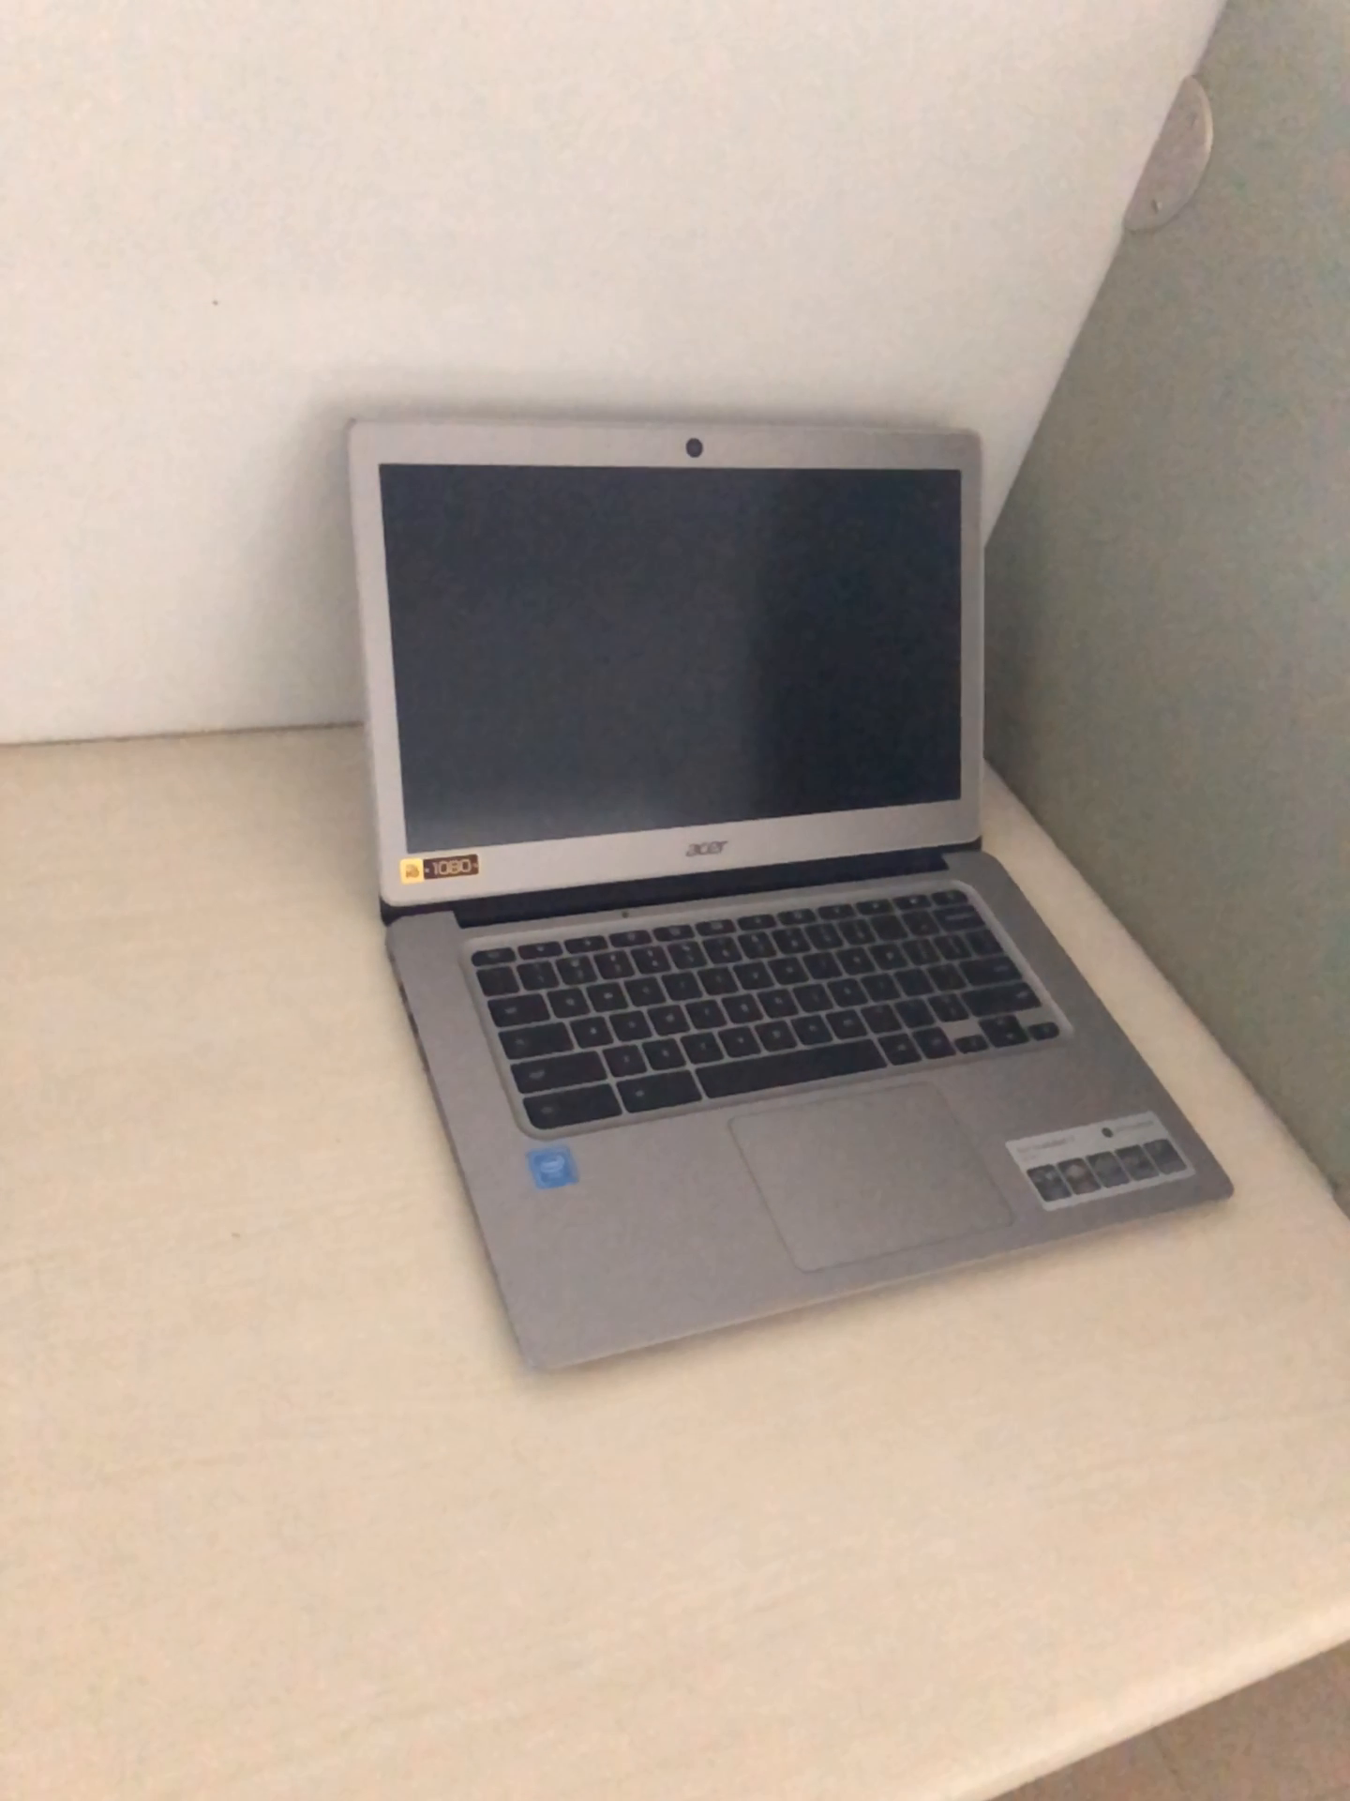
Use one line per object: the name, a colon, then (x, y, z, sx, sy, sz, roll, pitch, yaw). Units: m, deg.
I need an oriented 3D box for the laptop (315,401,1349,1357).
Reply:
laptop: (0.048, -0.043, 0.651, 0.323, 0.168, 0.367, -6, 47, -25)
